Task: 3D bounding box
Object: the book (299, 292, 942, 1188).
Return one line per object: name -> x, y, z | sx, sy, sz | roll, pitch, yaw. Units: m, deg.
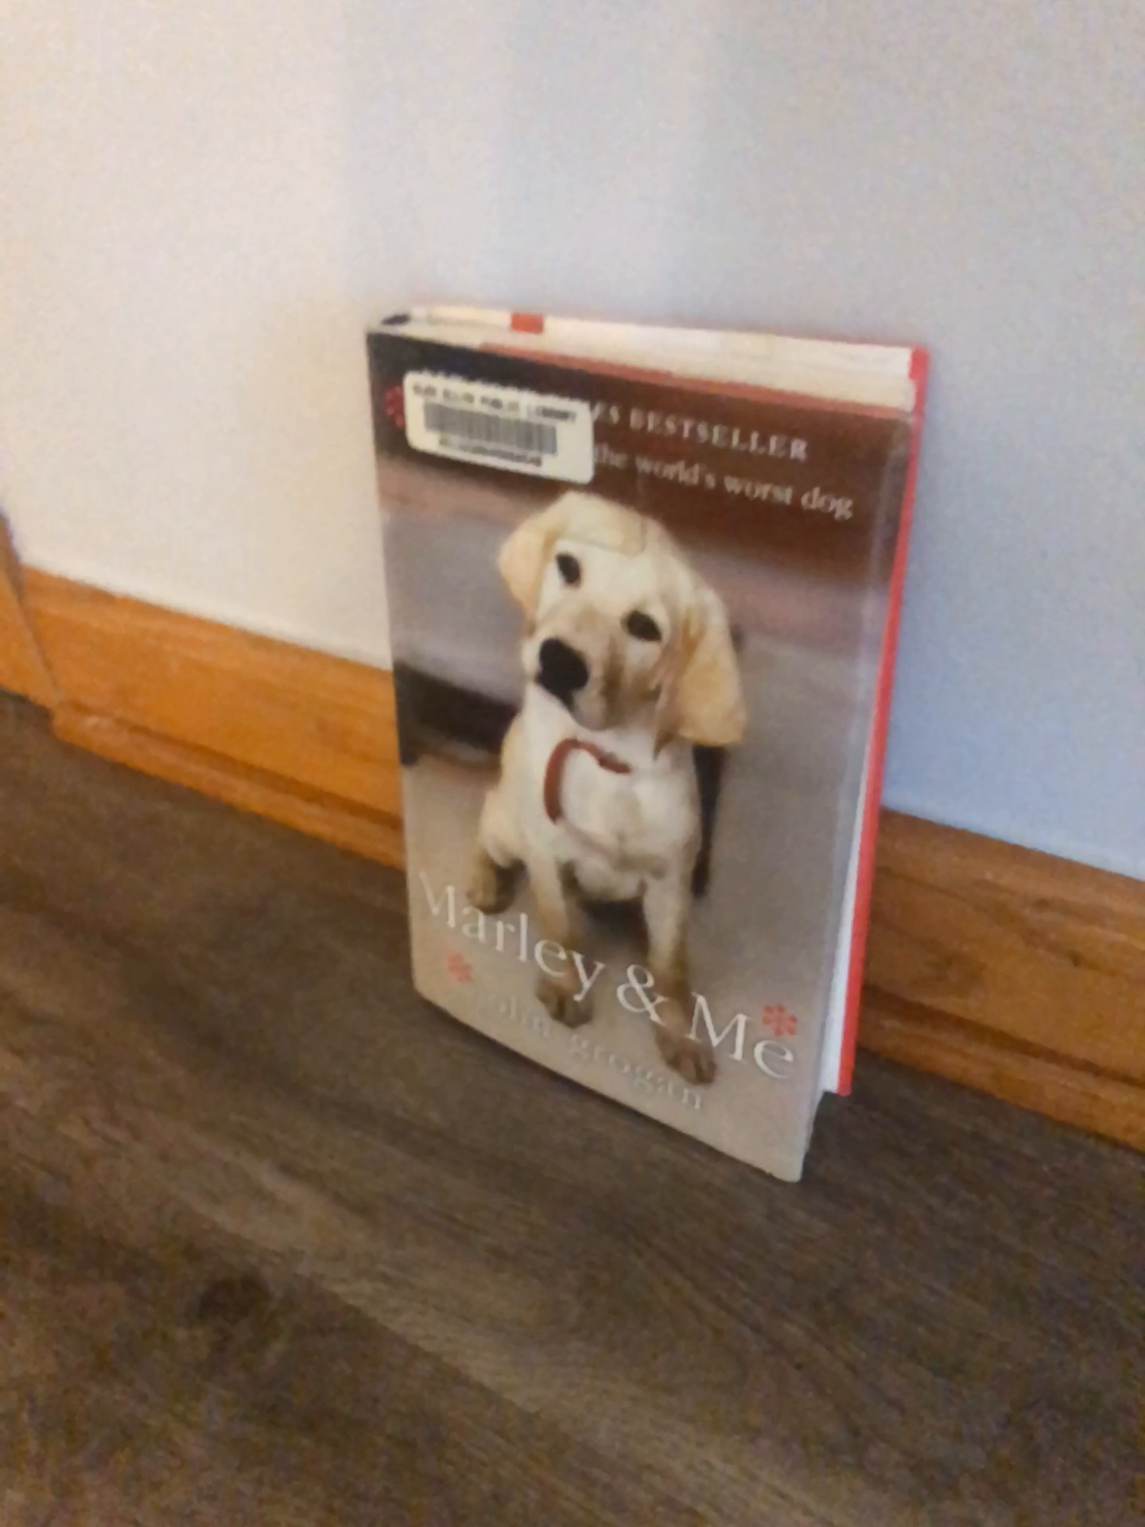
book -> 0.008, -0.005, 0.352 | 0.151, 0.218, 0.040 | 17, 35, 29
